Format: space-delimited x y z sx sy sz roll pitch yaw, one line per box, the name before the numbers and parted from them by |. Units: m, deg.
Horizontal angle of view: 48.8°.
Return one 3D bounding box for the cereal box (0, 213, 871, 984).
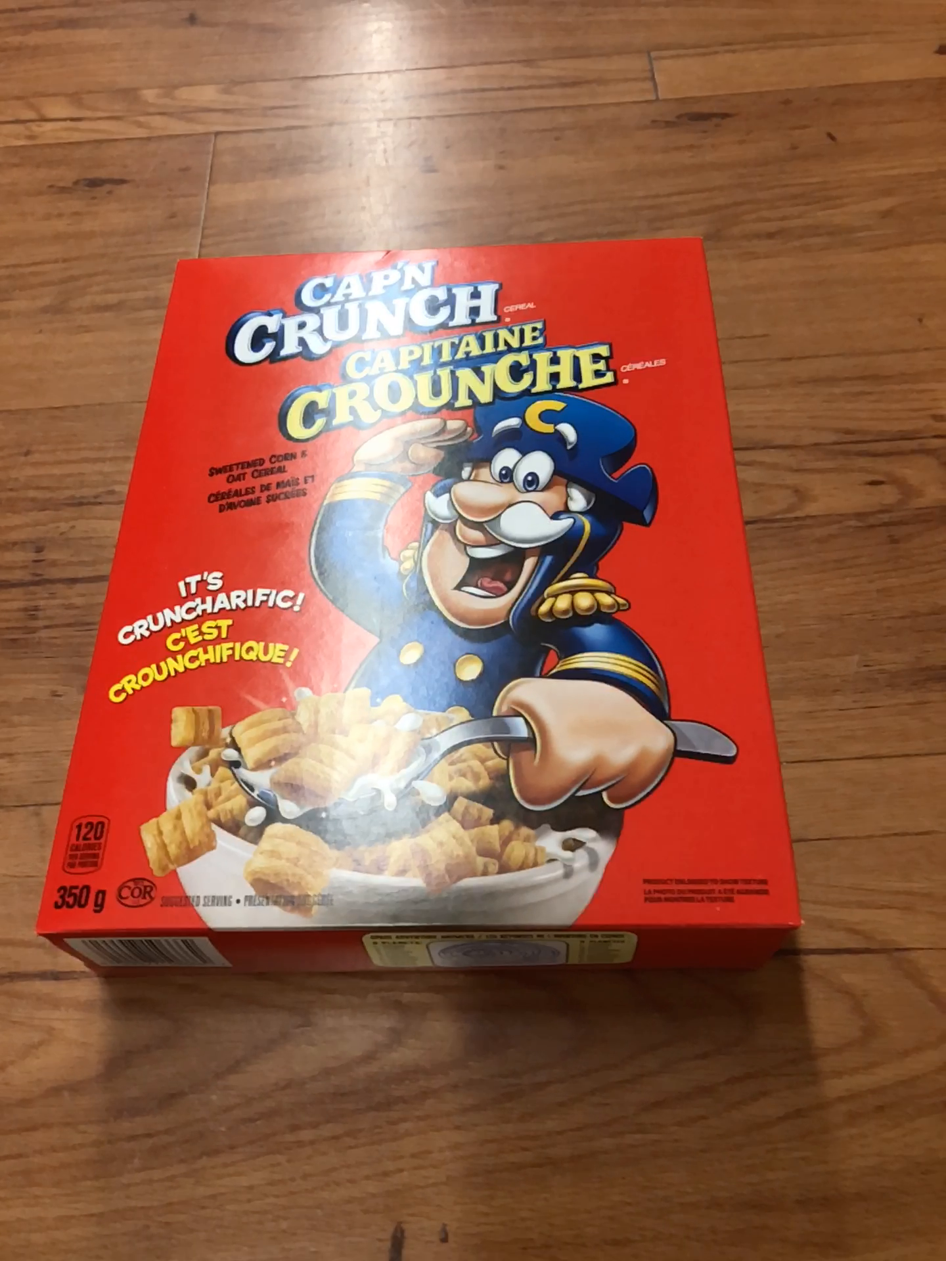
cereal box | -0.011 -0.023 0.352 0.220 0.060 0.261 -2 60 3
